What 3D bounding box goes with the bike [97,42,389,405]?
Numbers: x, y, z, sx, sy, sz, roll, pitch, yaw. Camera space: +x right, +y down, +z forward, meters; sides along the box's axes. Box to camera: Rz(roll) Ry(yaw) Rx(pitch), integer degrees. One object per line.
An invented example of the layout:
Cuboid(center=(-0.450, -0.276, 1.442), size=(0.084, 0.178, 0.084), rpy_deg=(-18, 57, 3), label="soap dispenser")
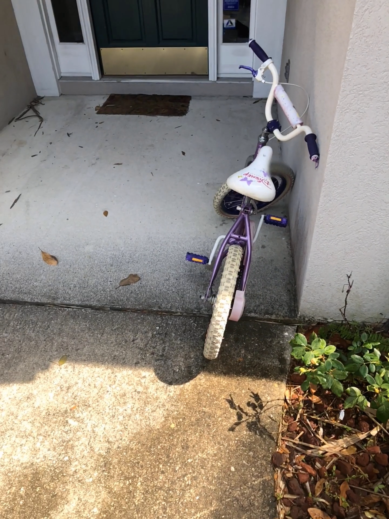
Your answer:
Cuboid(center=(0.200, -0.177, 1.437), size=(0.615, 0.816, 0.850), rpy_deg=(8, 40, 13), label="bike")
